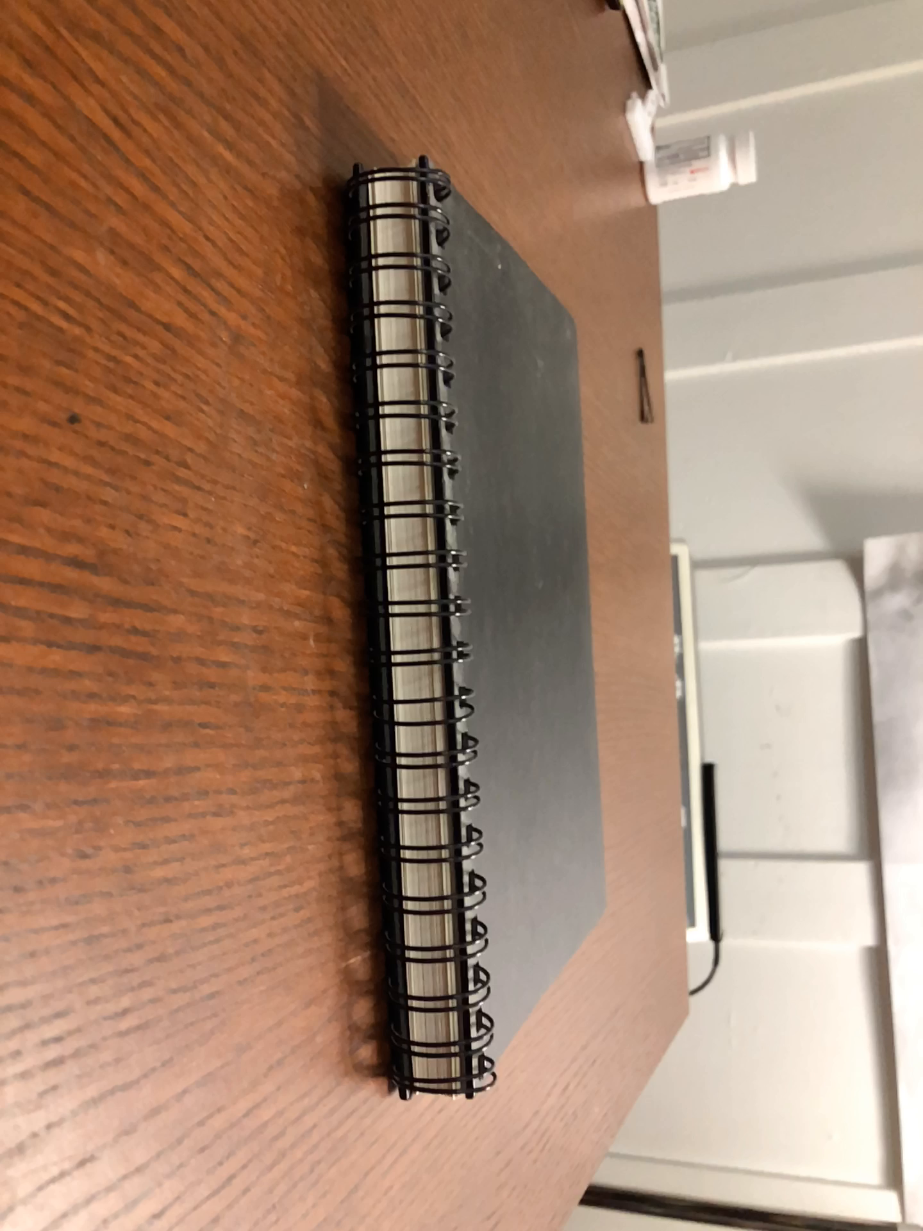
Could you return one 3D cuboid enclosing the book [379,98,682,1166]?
[{"bbox_3d":[0.037,0.002,0.348,0.201,0.030,0.260,-6,92,-69],"label":"book"}]
